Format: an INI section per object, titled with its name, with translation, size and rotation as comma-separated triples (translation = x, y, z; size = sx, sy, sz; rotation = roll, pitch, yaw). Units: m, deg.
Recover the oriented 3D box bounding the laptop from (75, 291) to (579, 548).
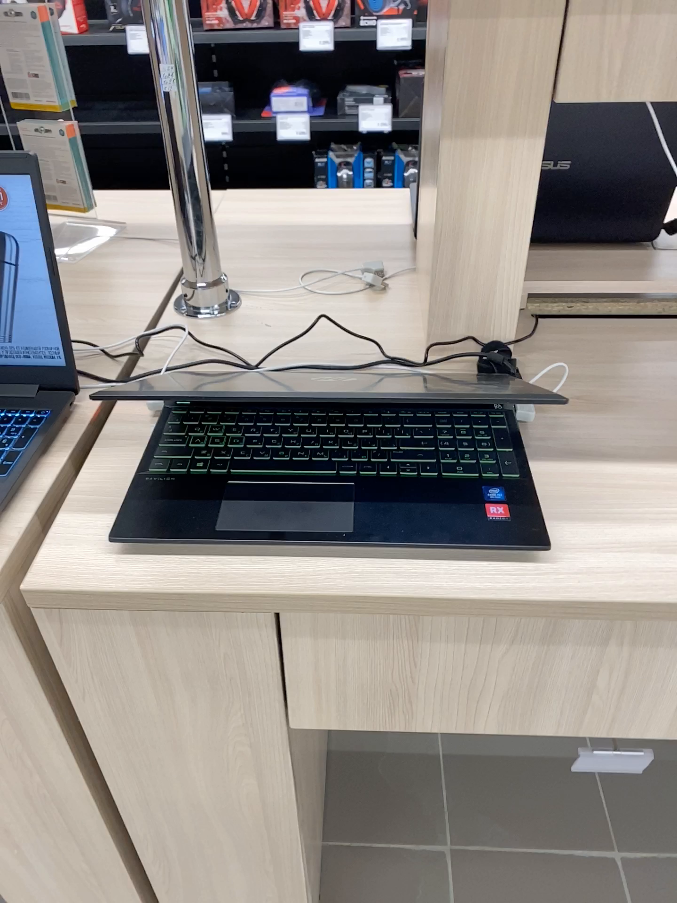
[laptop]
translation = -0.007, -0.042, 0.623
size = 0.364, 0.108, 0.236
rotation = 1, 37, 3
